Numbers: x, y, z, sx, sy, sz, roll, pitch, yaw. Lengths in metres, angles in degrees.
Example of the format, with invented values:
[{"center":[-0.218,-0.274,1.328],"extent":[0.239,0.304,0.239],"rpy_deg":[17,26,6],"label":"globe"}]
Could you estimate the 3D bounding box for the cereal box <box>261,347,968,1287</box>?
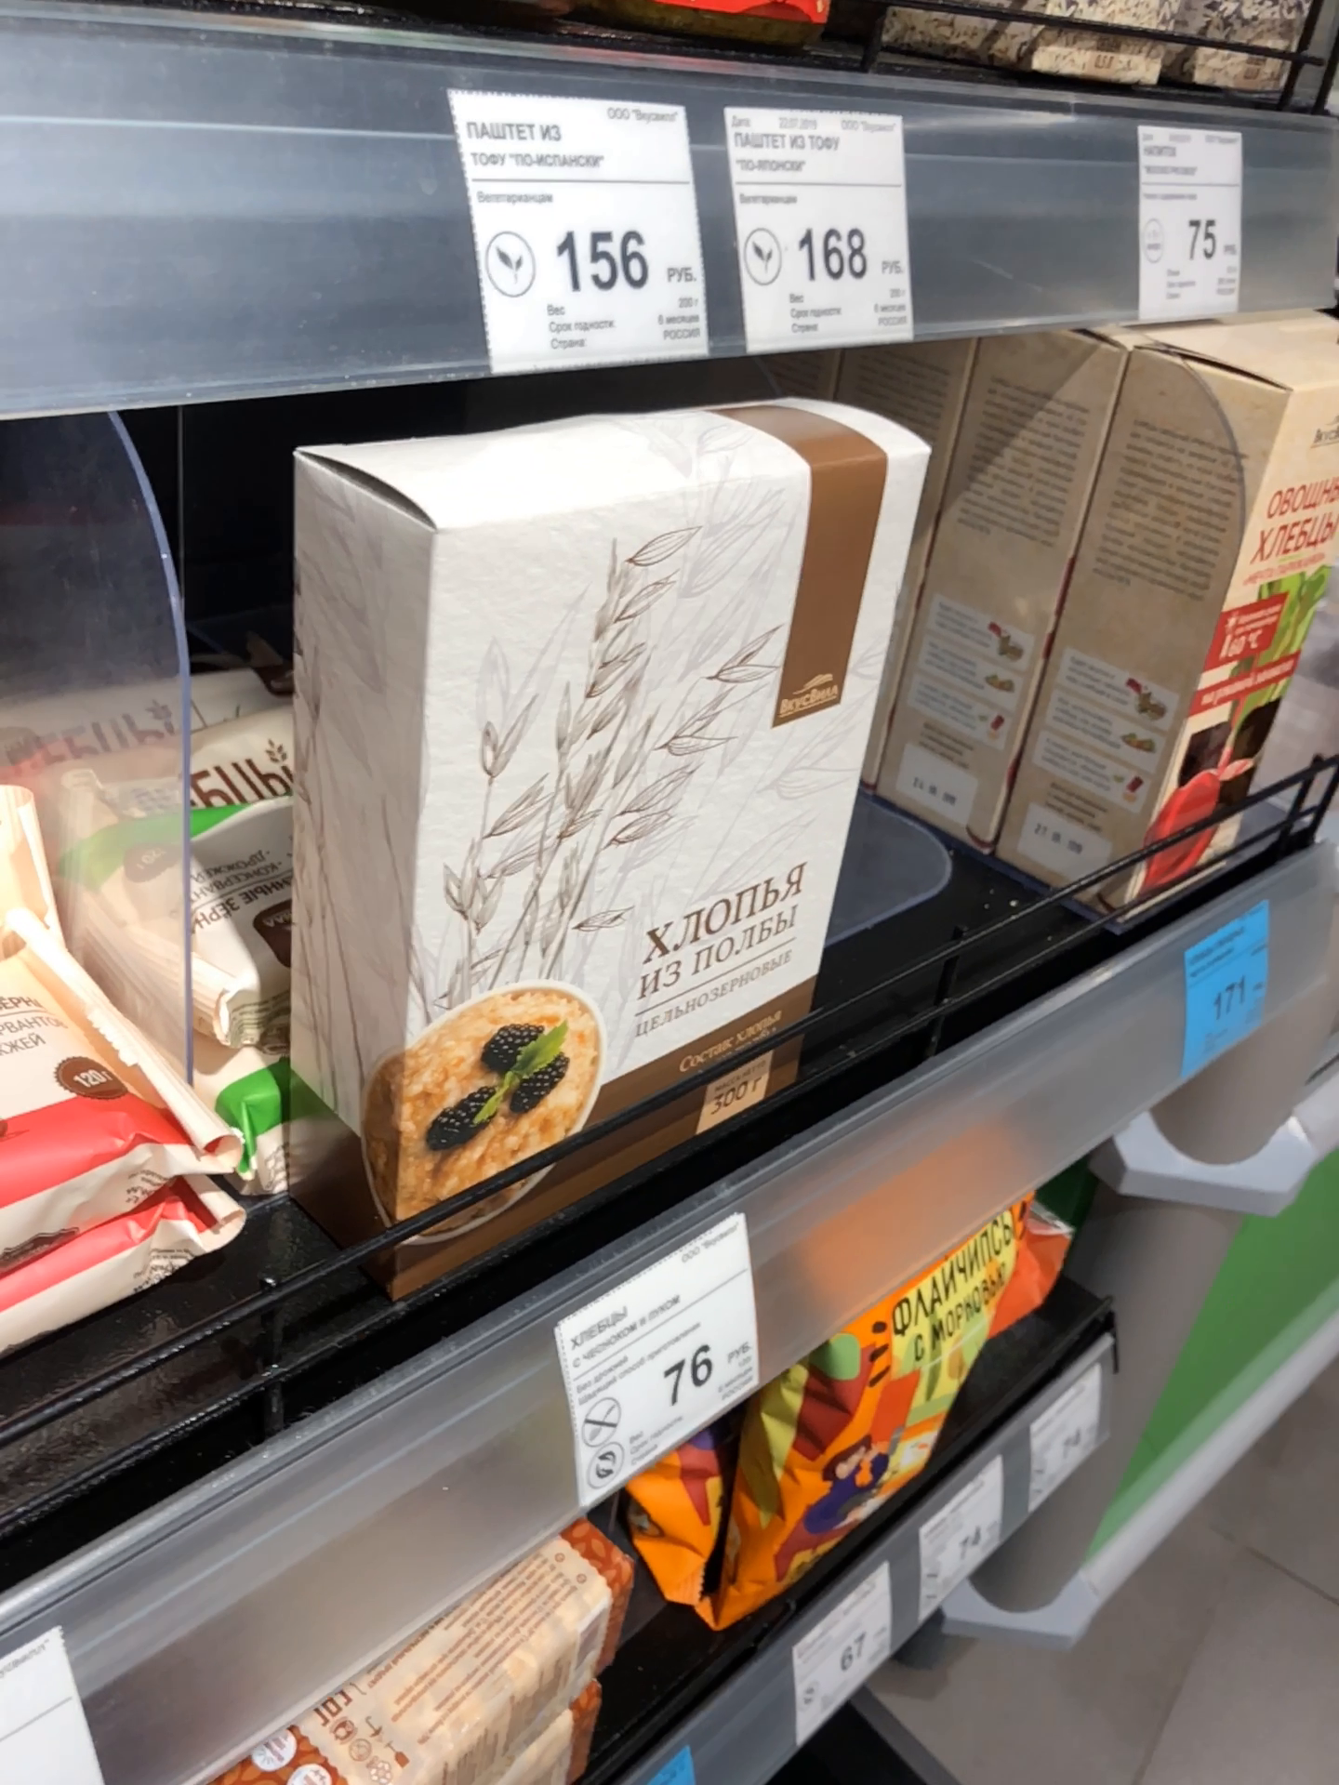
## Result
[{"center":[-0.015,-0.022,0.354],"extent":[0.150,0.189,0.050],"rpy_deg":[-21,41,-39],"label":"cereal box"}]
